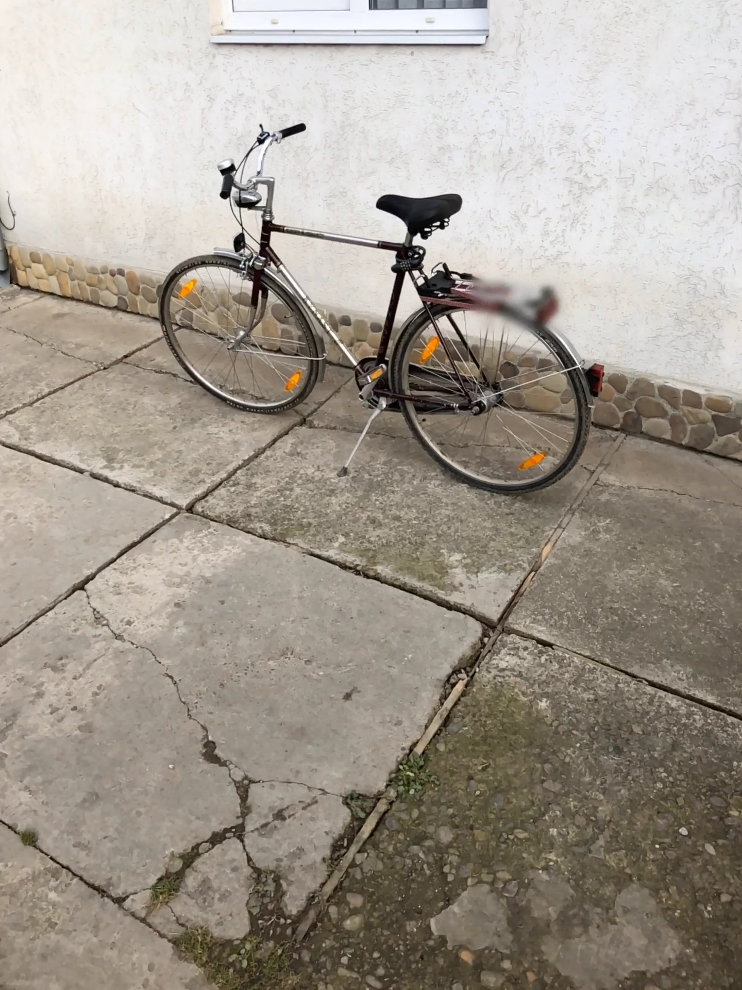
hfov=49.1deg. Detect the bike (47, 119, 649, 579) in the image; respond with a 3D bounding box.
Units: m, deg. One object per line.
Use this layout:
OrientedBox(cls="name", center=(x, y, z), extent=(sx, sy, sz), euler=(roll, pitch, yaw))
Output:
OrientedBox(cls="bike", center=(-0.129, -0.572, 2.662), extent=(1.712, 1.054, 0.600), euler=(18, 36, 28))
